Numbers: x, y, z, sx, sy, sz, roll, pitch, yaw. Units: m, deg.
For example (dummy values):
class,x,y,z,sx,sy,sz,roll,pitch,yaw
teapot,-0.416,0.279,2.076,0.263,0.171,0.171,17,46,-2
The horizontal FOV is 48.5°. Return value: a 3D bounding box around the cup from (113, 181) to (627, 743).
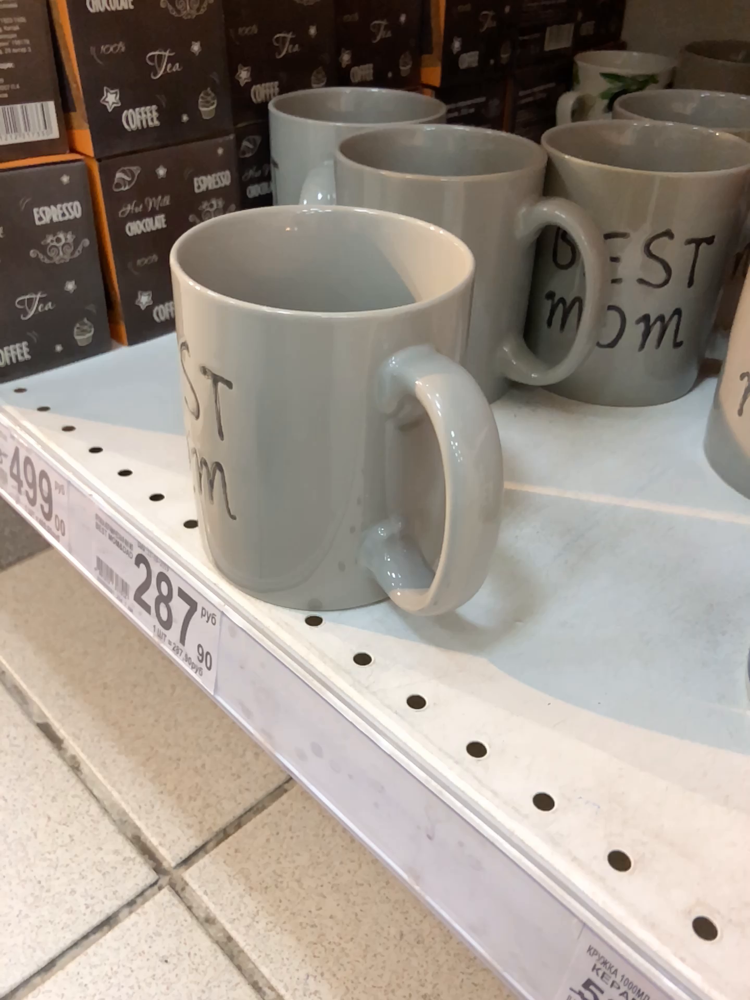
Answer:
class,x,y,z,sx,sy,sz,roll,pitch,yaw
cup,-0.015,-0.027,0.281,0.100,0.121,0.143,-13,35,-24
